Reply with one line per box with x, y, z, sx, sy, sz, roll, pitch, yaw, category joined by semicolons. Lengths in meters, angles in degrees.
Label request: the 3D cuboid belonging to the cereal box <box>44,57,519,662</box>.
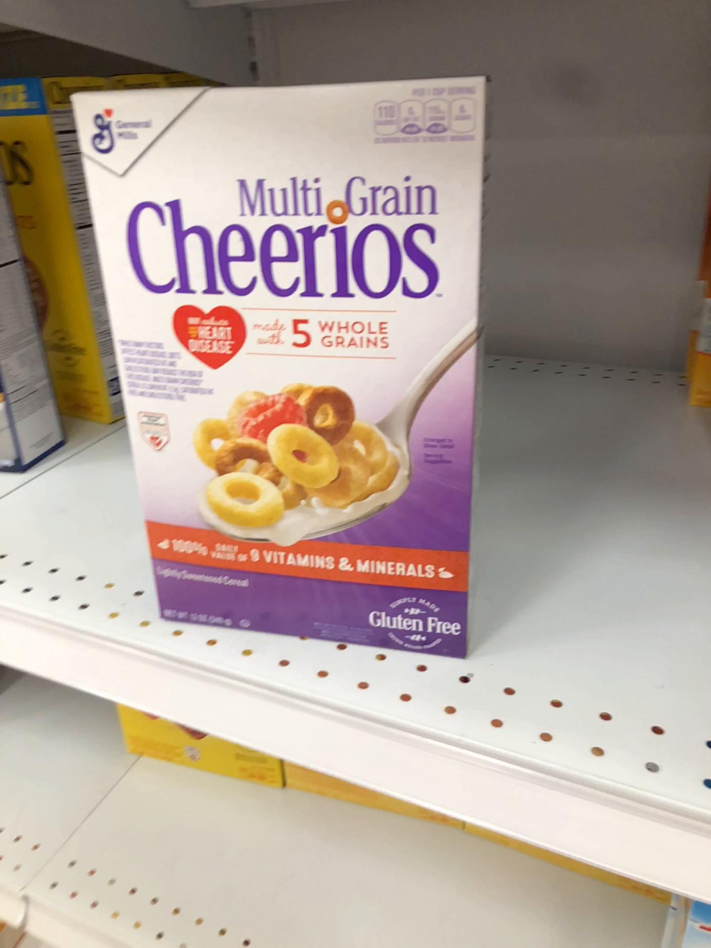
-0.027;-0.053;0.430;0.210;0.299;0.070;4;26;14;cereal box
